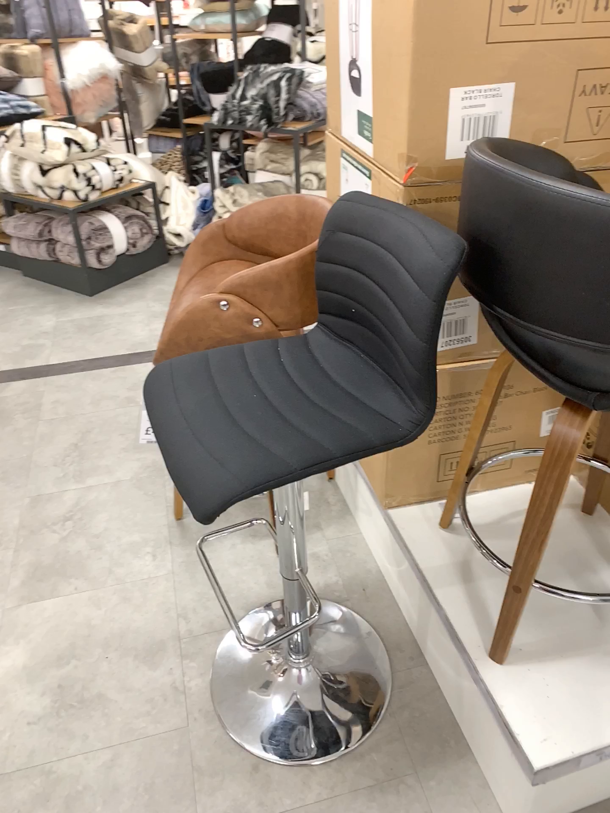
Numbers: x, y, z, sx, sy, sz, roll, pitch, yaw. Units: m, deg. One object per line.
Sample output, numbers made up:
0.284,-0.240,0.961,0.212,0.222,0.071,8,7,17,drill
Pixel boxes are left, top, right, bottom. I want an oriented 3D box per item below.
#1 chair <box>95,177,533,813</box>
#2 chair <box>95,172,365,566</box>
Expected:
-0.007,0.169,1.147,0.468,0.994,0.458,-16,35,-20,chair
-0.142,-0.096,1.652,0.518,0.875,0.529,-2,33,-1,chair
